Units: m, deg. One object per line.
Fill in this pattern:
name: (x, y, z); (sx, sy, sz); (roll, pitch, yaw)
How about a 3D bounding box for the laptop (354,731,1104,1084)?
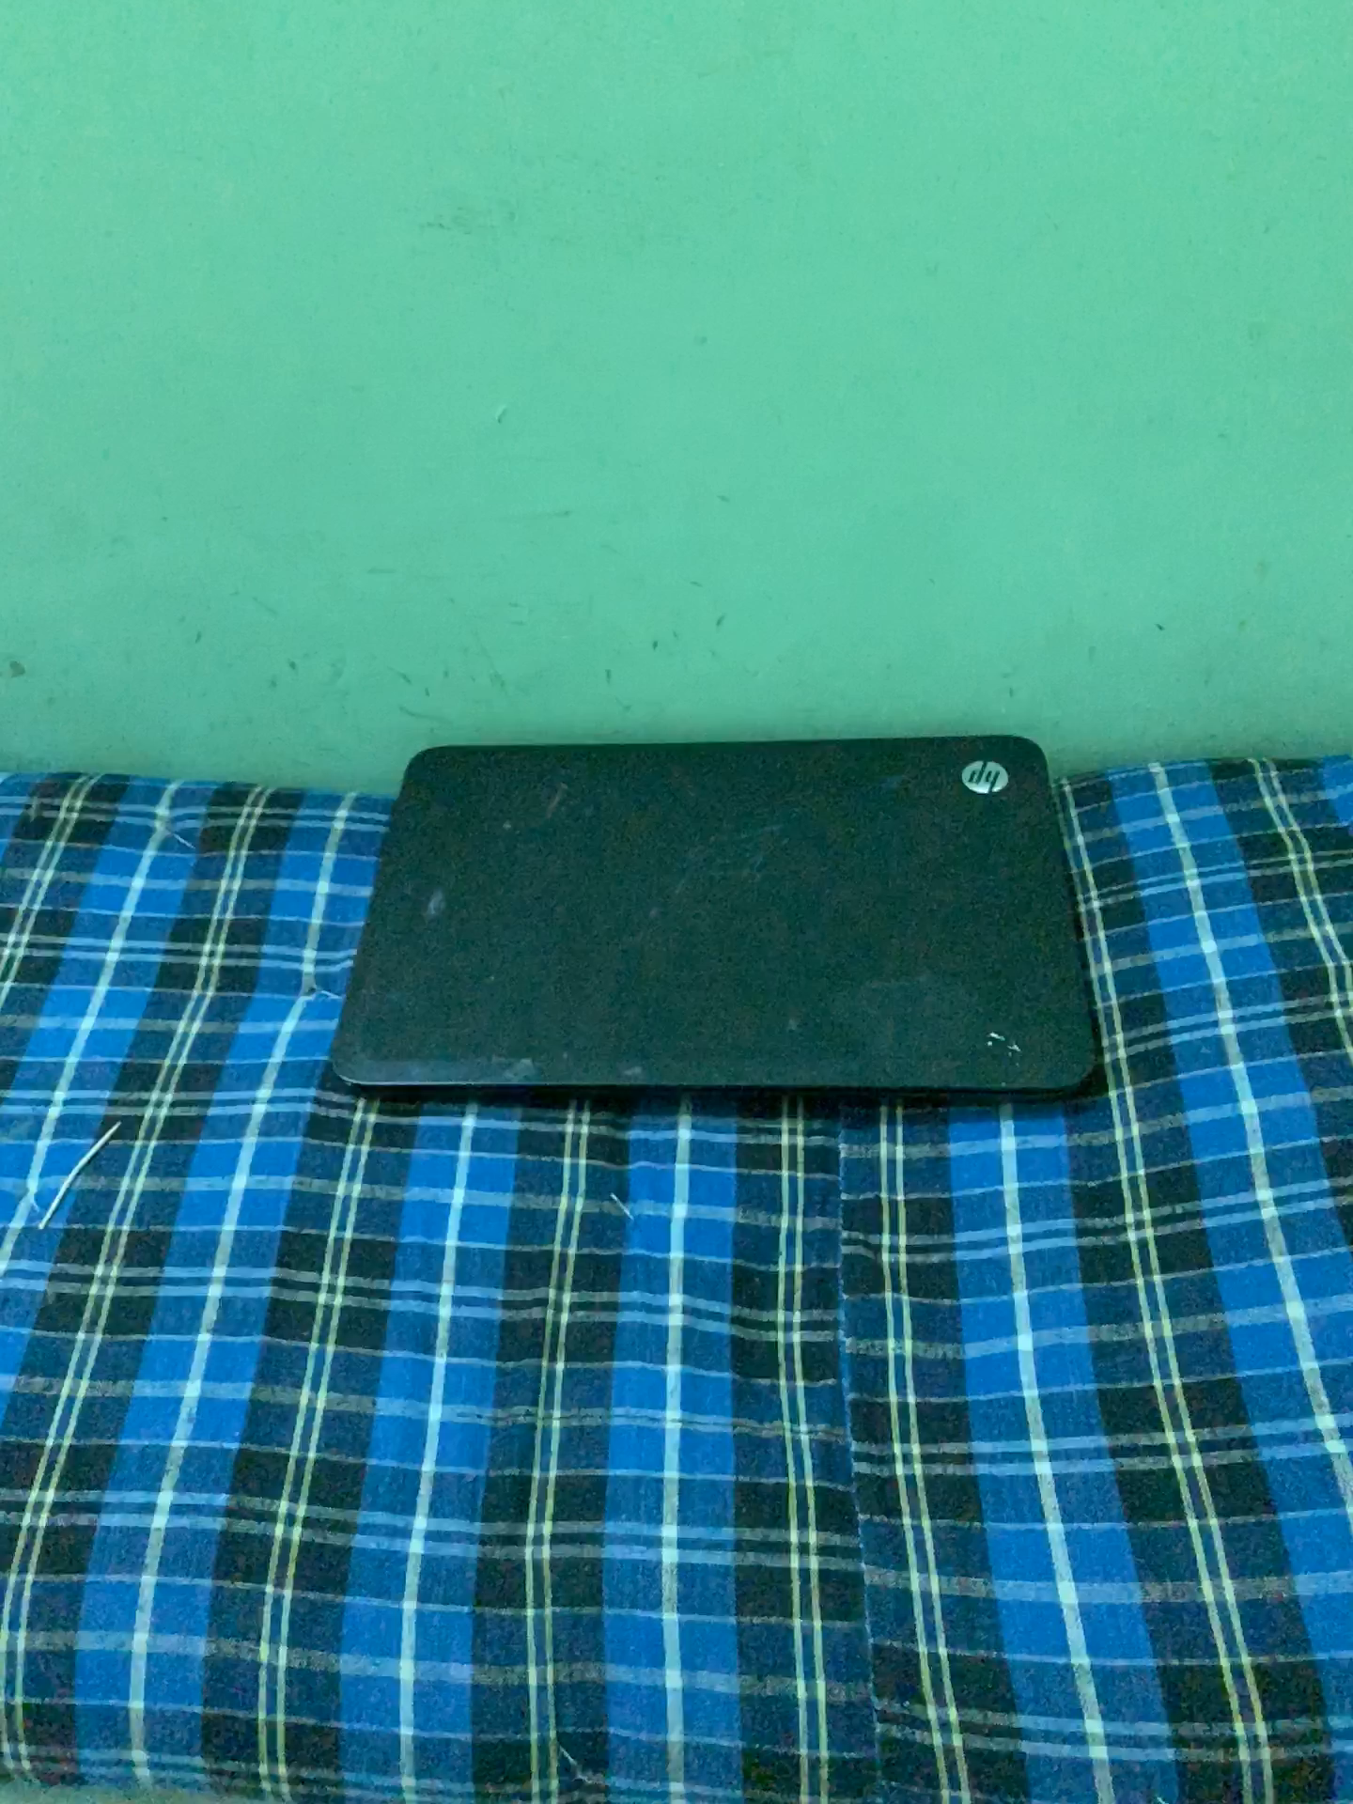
laptop: (0.027, -0.004, 0.716); (0.346, 0.018, 0.217); (0, 49, 6)
